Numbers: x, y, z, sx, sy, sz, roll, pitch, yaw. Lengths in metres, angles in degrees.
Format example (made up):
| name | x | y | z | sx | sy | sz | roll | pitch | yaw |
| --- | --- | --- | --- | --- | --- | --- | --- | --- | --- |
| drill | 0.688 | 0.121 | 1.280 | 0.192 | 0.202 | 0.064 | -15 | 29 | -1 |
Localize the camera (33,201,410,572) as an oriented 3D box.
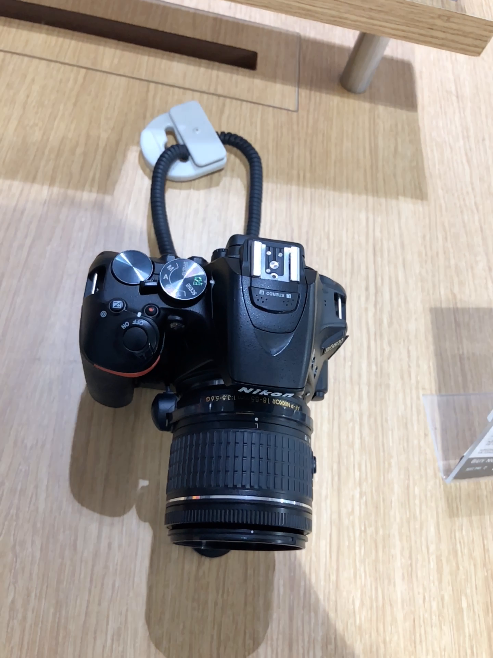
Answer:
| name | x | y | z | sx | sy | sz | roll | pitch | yaw |
| --- | --- | --- | --- | --- | --- | --- | --- | --- | --- |
| camera | -0.010 | 0.028 | 0.233 | 0.120 | 0.070 | 0.130 | 6 | 63 | -10 |
